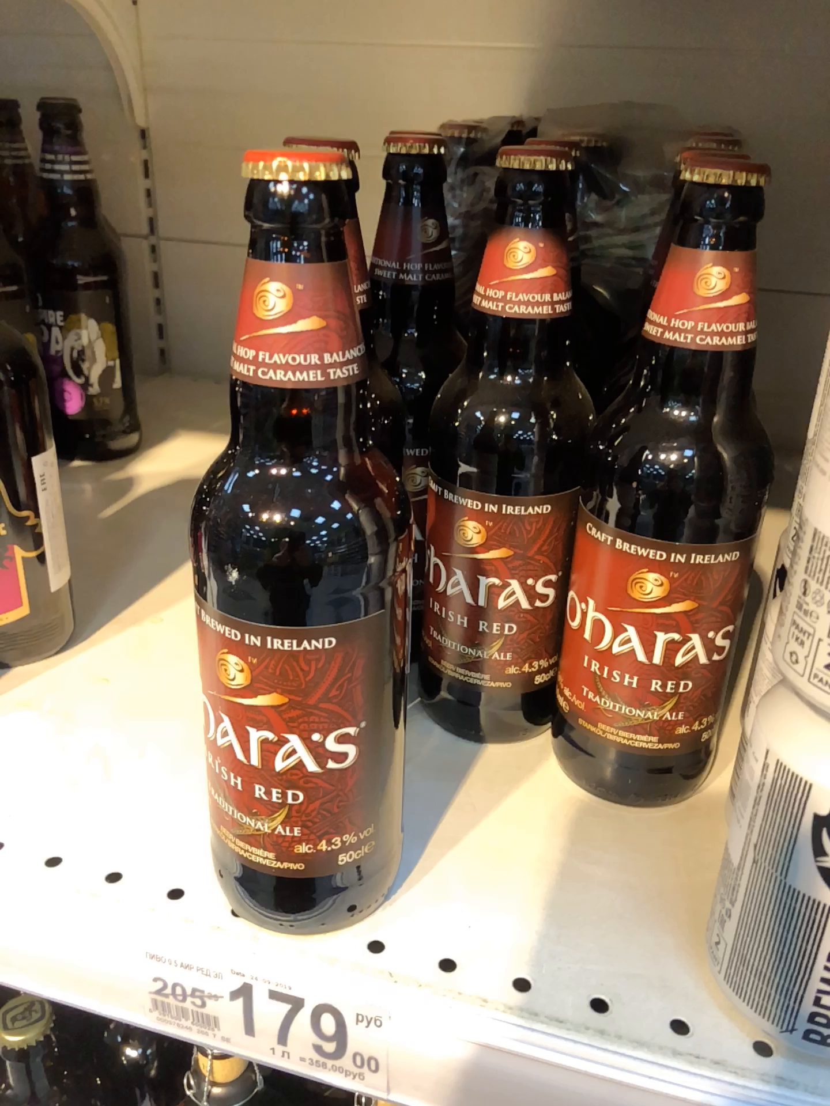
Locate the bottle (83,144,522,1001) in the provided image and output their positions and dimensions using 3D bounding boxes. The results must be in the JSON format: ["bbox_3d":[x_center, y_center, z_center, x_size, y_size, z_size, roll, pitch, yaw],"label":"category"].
[{"bbox_3d":[-0.031,0.007,0.290,0.080,0.246,0.080,2,26,-1],"label":"bottle"}]
